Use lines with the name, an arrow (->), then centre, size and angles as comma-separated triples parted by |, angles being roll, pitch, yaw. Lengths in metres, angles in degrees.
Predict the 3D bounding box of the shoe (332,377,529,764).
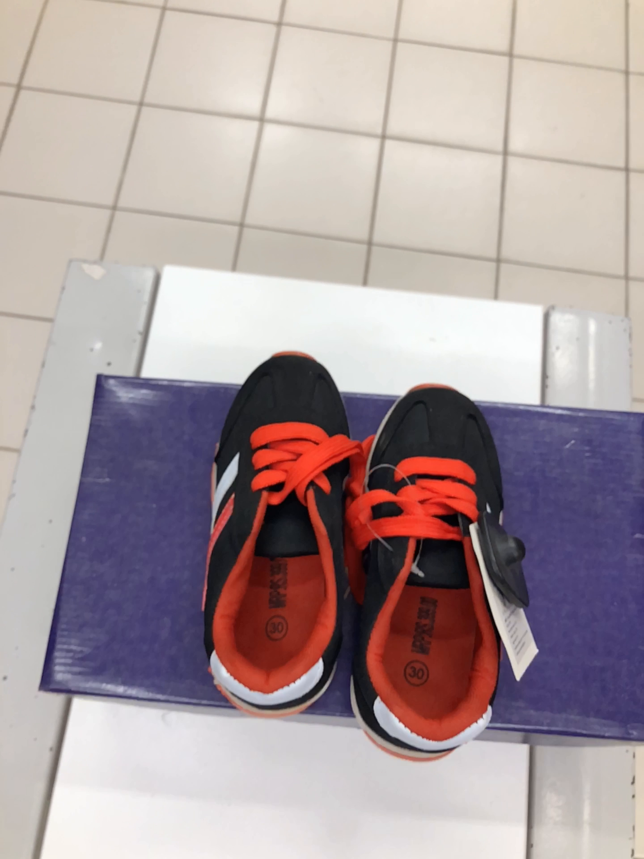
shoe -> 0.053, 0.073, 0.380 | 0.080, 0.100, 0.170 | 5, 72, 0

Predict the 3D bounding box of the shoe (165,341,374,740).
shoe -> -0.022, 0.059, 0.384 | 0.080, 0.100, 0.180 | 5, 72, 0
